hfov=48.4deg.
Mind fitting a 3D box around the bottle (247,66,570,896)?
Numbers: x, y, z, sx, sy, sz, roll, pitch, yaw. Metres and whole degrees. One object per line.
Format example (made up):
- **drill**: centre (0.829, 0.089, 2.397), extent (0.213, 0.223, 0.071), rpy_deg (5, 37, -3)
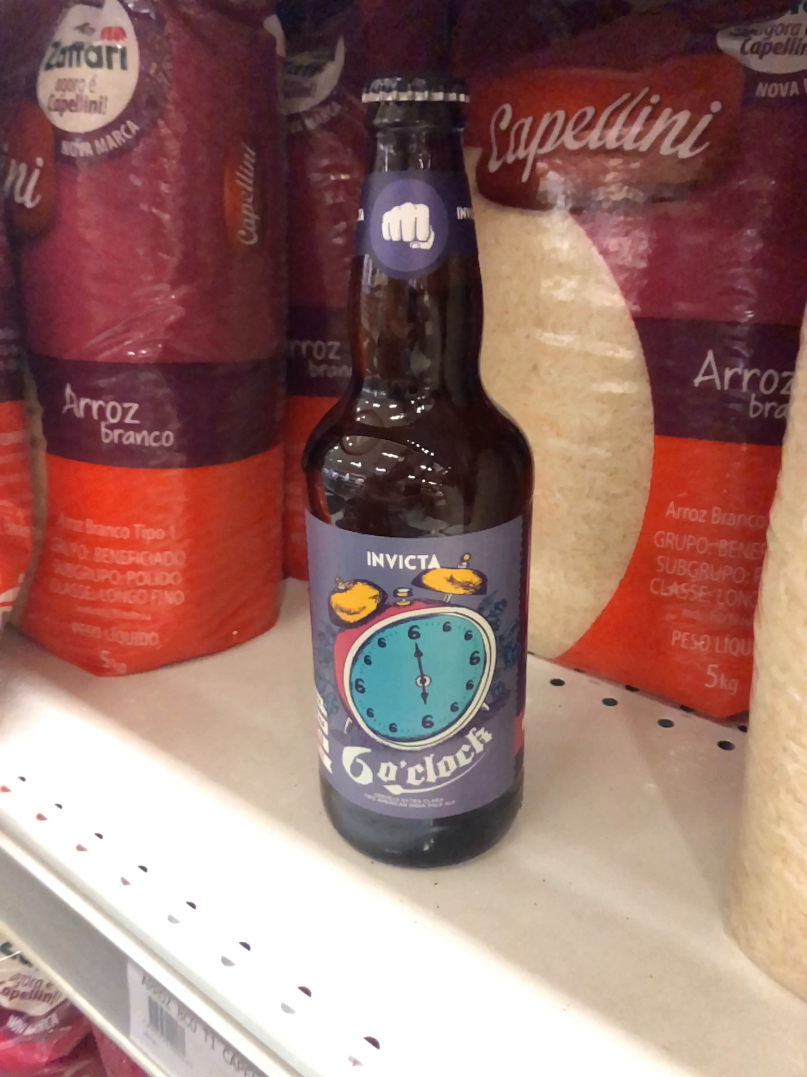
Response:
- **bottle**: centre (0.006, -0.010, 0.270), extent (0.070, 0.228, 0.070), rpy_deg (-1, 23, 0)
